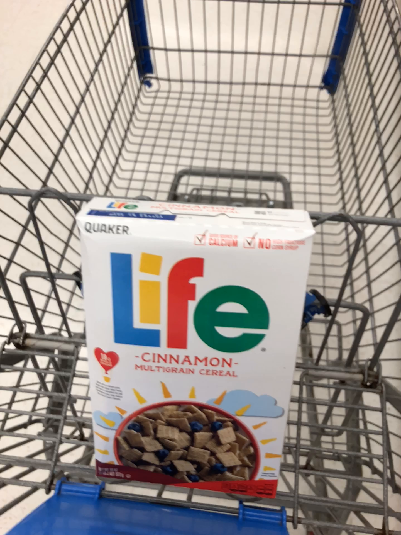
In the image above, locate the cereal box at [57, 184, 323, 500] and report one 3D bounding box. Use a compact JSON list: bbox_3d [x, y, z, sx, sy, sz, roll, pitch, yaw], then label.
[{"bbox_3d":[-0.010,0.074,0.420,0.200,0.280,0.070,4,23,6],"label":"cereal box"}]
